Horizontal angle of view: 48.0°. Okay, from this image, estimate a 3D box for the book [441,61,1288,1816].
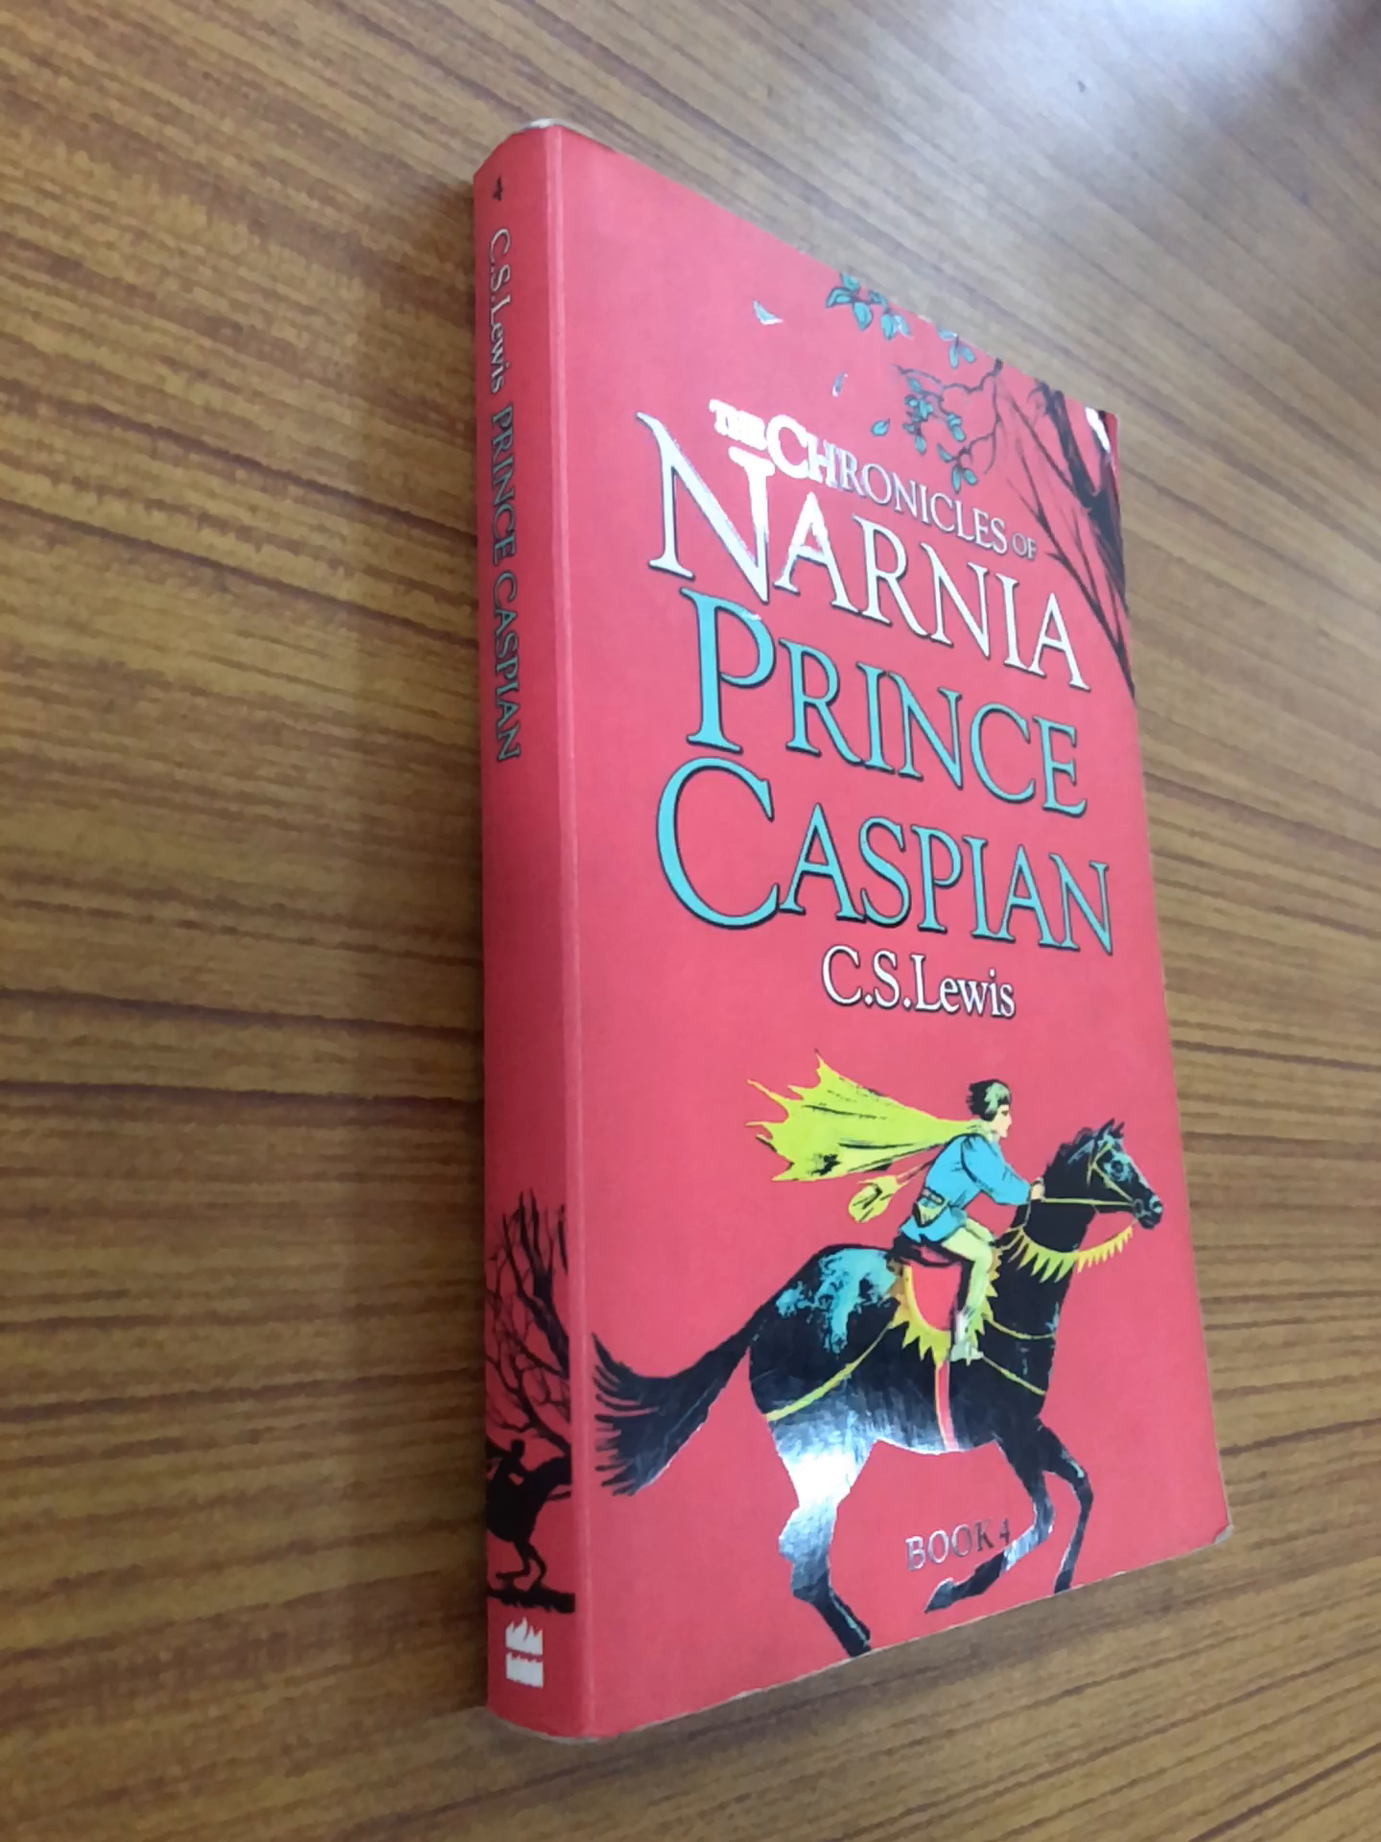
[{"bbox_3d":[0.029,0.001,0.220,0.131,0.030,0.190,7,76,-42],"label":"book"}]
